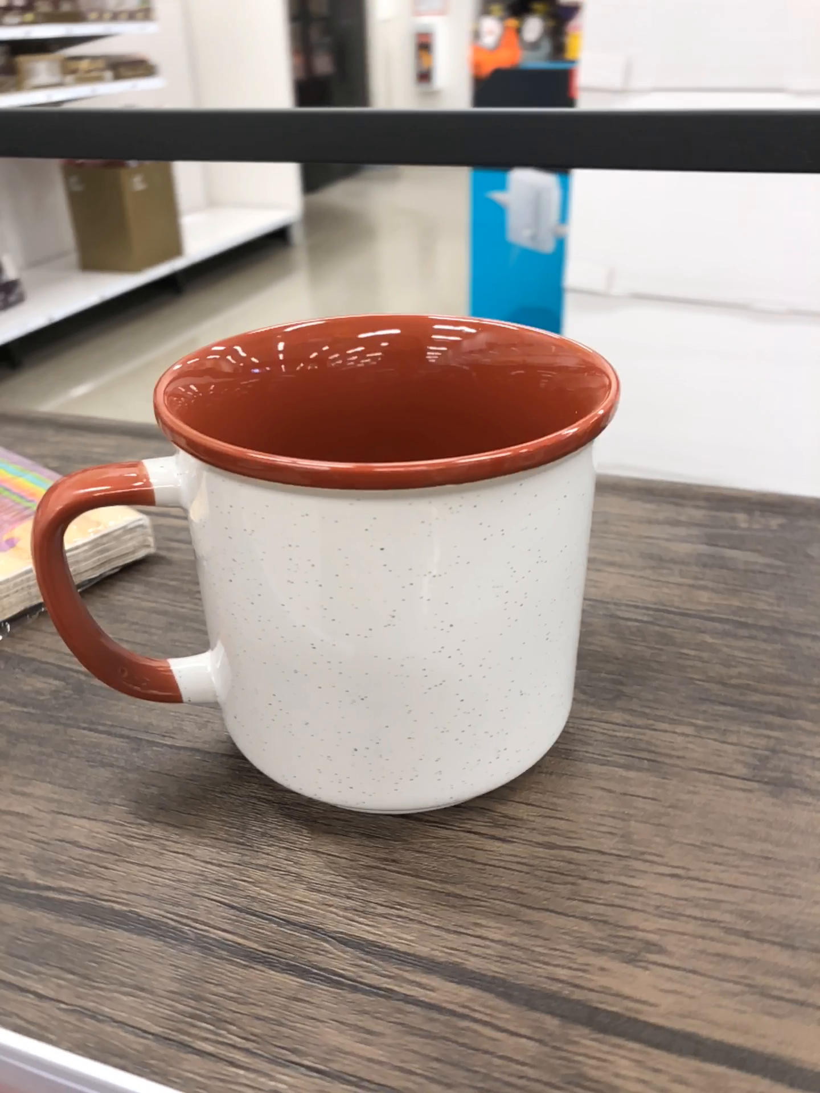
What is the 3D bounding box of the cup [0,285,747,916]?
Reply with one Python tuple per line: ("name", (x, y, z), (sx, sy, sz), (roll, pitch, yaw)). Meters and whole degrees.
("cup", (-0.019, -0.001, 0.235), (0.150, 0.090, 0.110), (-10, 31, -14))
